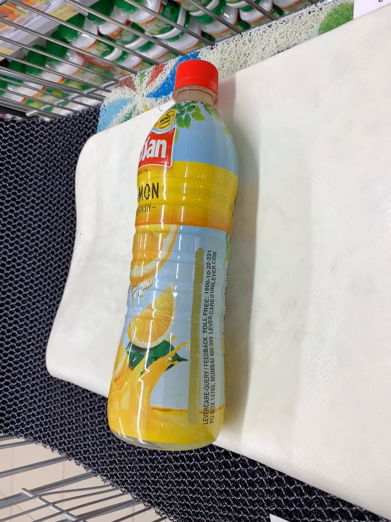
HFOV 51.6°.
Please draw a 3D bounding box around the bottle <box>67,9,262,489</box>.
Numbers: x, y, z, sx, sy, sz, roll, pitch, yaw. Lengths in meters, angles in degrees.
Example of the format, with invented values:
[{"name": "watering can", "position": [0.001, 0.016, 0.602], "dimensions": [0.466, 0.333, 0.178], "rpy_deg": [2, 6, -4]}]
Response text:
[{"name": "bottle", "position": [-0.017, -0.007, 0.246], "dimensions": [0.080, 0.070, 0.230], "rpy_deg": [1, 87, 39]}]
